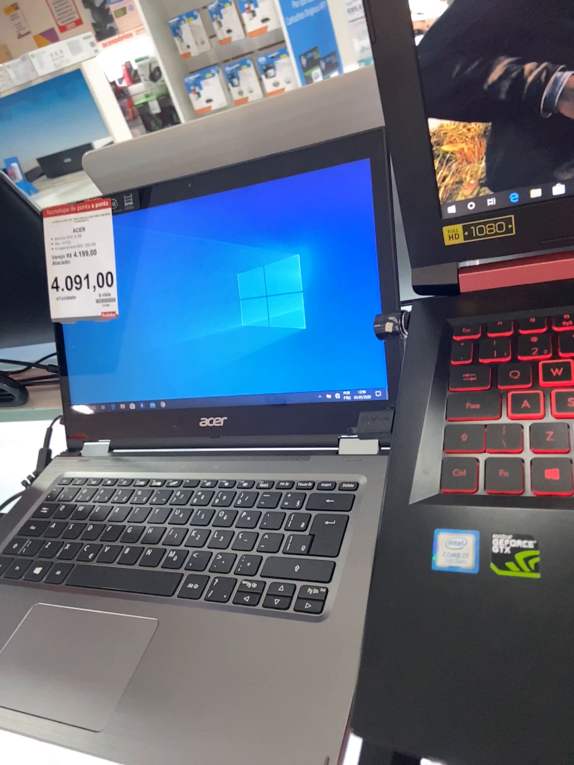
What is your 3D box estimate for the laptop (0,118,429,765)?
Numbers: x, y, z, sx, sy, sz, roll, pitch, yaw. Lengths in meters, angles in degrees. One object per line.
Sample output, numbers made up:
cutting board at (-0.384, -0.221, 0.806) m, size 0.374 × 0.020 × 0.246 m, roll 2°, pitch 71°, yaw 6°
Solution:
laptop at (-0.107, 0.009, 0.400) m, size 0.328 × 0.187 × 0.357 m, roll -4°, pitch 36°, yaw 25°
